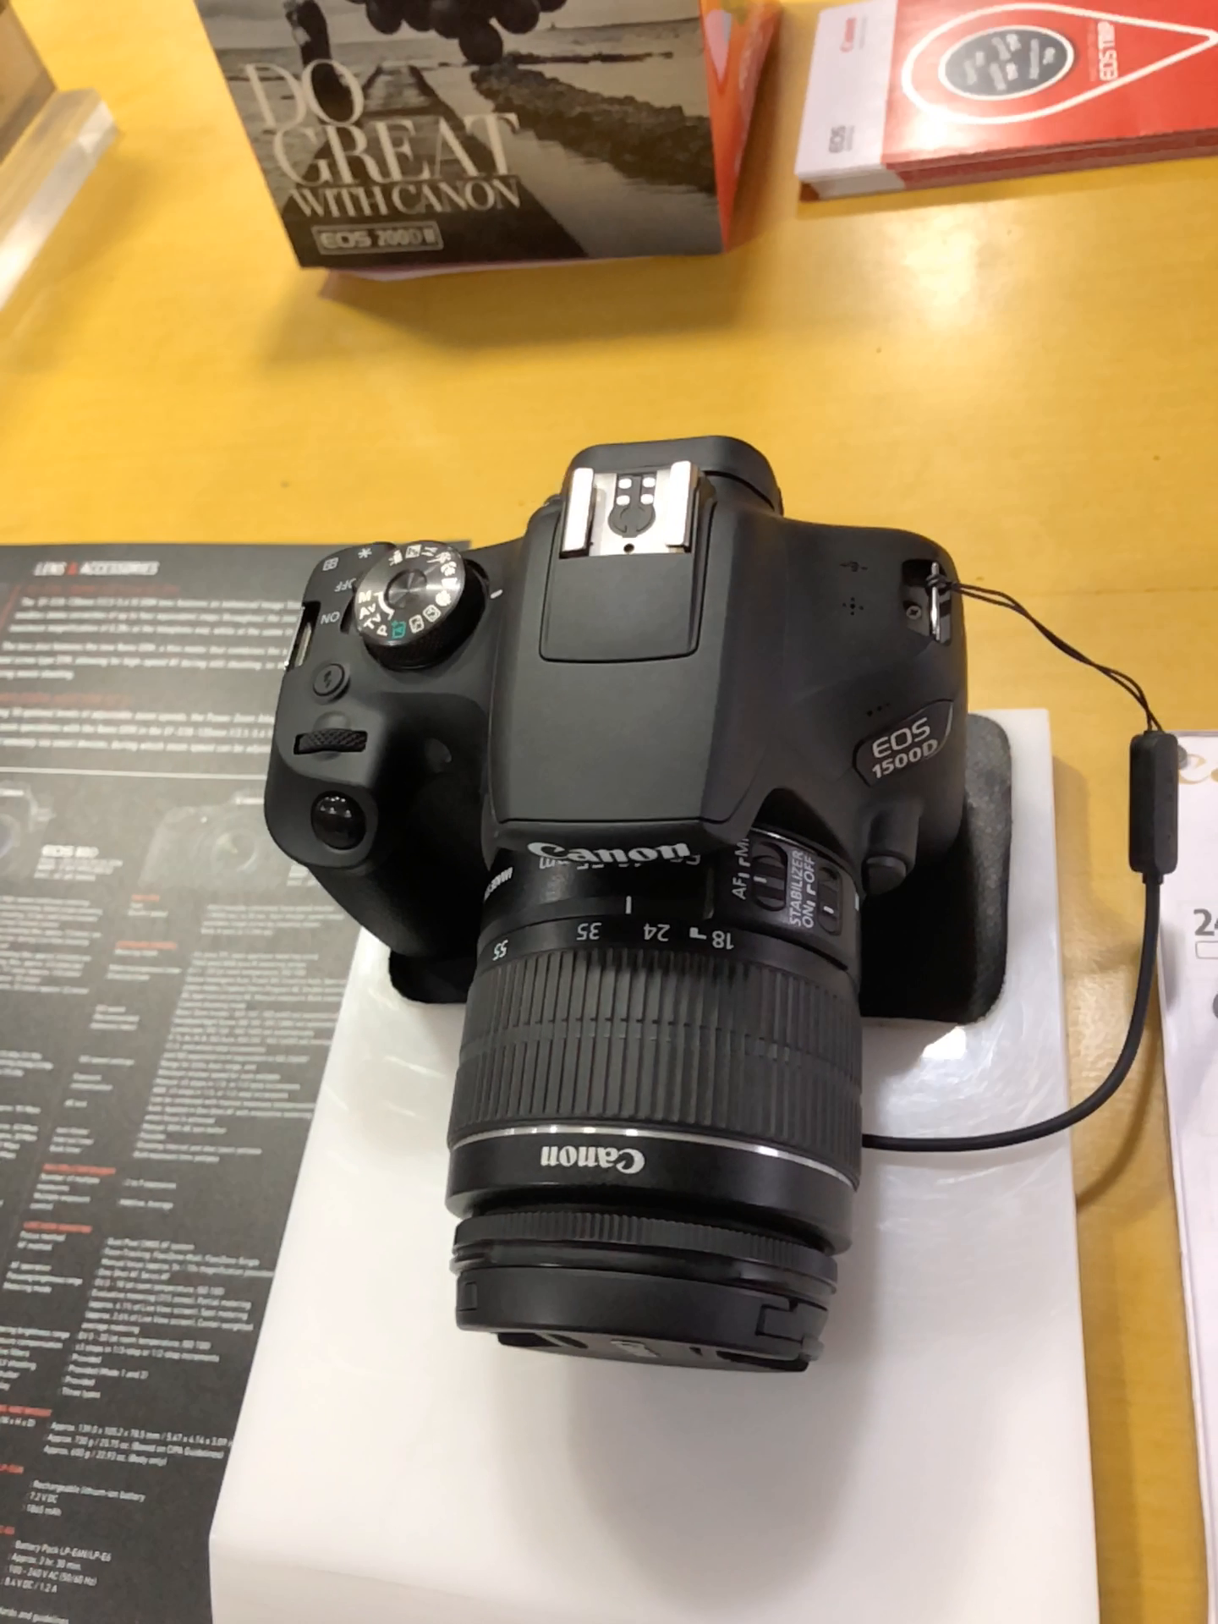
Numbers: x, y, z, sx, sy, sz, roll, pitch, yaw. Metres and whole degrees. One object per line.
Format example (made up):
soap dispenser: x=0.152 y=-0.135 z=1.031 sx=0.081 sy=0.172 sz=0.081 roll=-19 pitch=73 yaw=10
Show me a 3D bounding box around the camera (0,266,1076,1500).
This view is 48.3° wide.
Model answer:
camera: x=-0.012 y=0.010 z=0.201 sx=0.140 sy=0.090 sz=0.141 roll=-1 pitch=56 yaw=15
